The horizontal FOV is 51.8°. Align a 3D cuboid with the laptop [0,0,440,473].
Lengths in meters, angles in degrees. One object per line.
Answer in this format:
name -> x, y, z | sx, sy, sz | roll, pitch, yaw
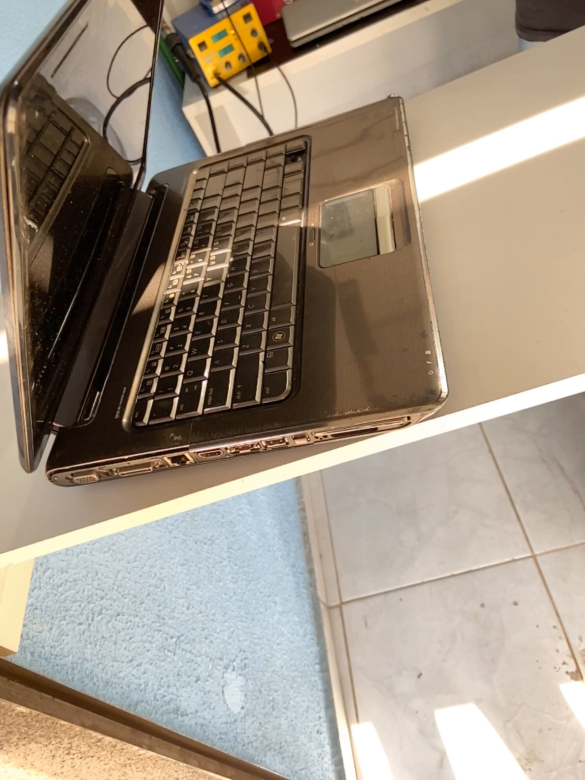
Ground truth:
laptop -> -0.069, -0.161, 0.387 | 0.245, 0.190, 0.345 | -12, 47, 18
